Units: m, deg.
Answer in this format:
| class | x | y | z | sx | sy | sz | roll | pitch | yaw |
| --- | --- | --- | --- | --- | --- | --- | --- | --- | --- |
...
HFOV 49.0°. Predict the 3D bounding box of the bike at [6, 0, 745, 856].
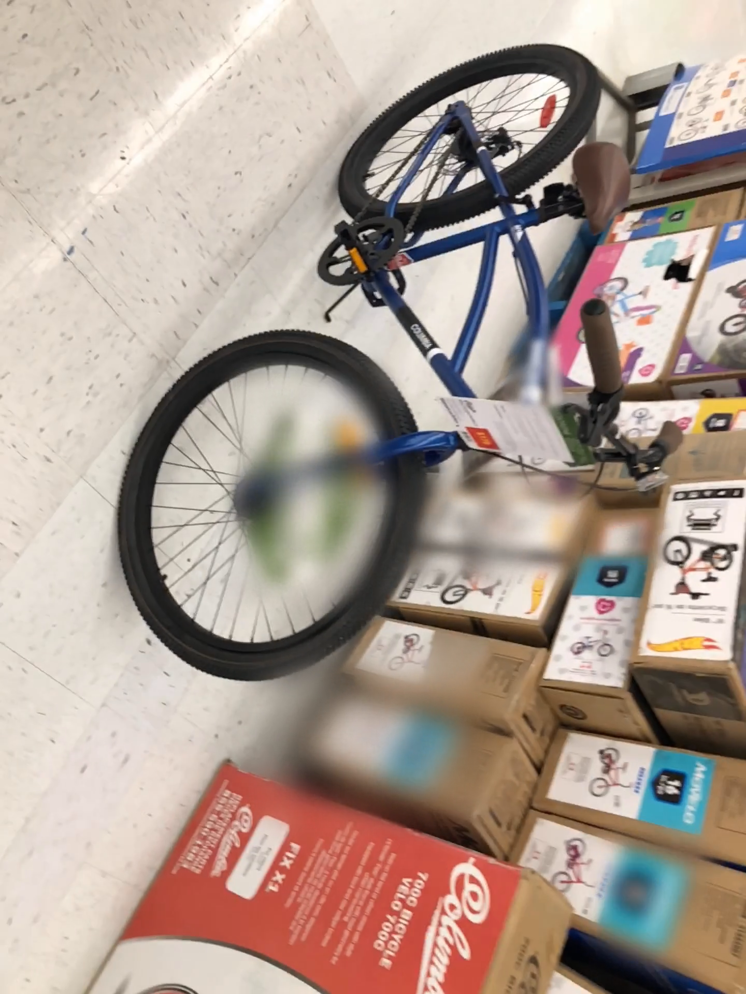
| class | x | y | z | sx | sy | sz | roll | pitch | yaw |
| --- | --- | --- | --- | --- | --- | --- | --- | --- | --- |
| bike | 0.201 | -0.349 | 1.547 | 0.651 | 0.928 | 1.555 | 45 | 58 | -42 |
